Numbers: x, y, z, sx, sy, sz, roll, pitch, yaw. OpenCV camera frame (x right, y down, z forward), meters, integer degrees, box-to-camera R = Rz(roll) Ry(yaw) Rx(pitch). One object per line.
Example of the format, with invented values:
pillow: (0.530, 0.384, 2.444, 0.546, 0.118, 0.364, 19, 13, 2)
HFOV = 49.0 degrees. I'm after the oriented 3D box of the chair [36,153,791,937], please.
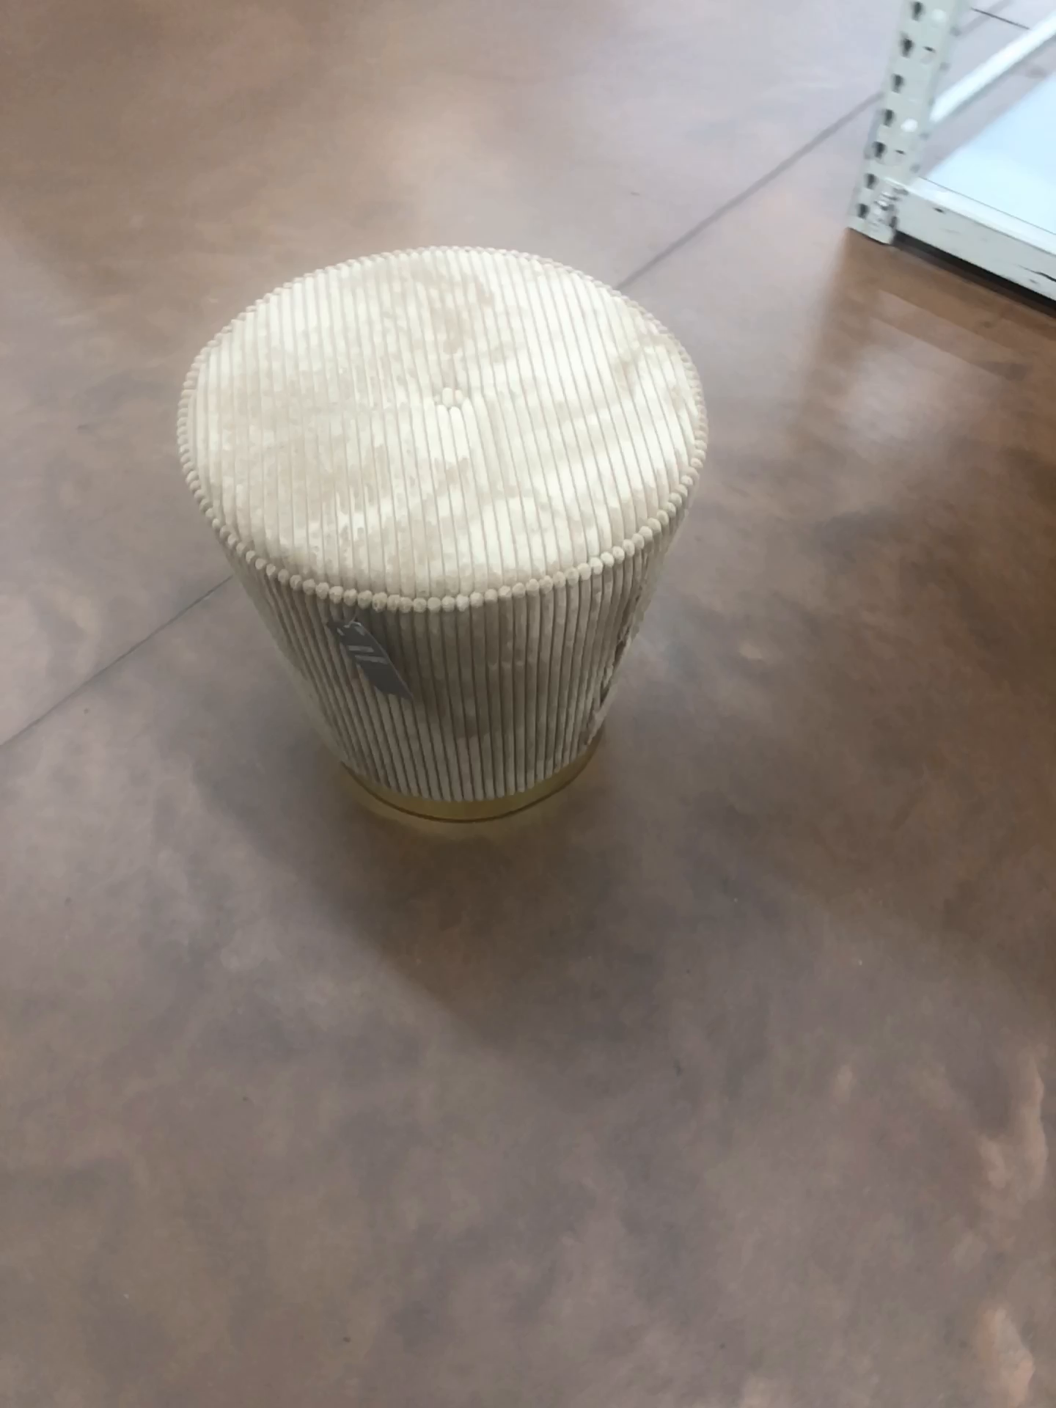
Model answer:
chair: (-0.074, -0.143, 1.112, 0.450, 0.479, 0.421, 21, 57, 14)
